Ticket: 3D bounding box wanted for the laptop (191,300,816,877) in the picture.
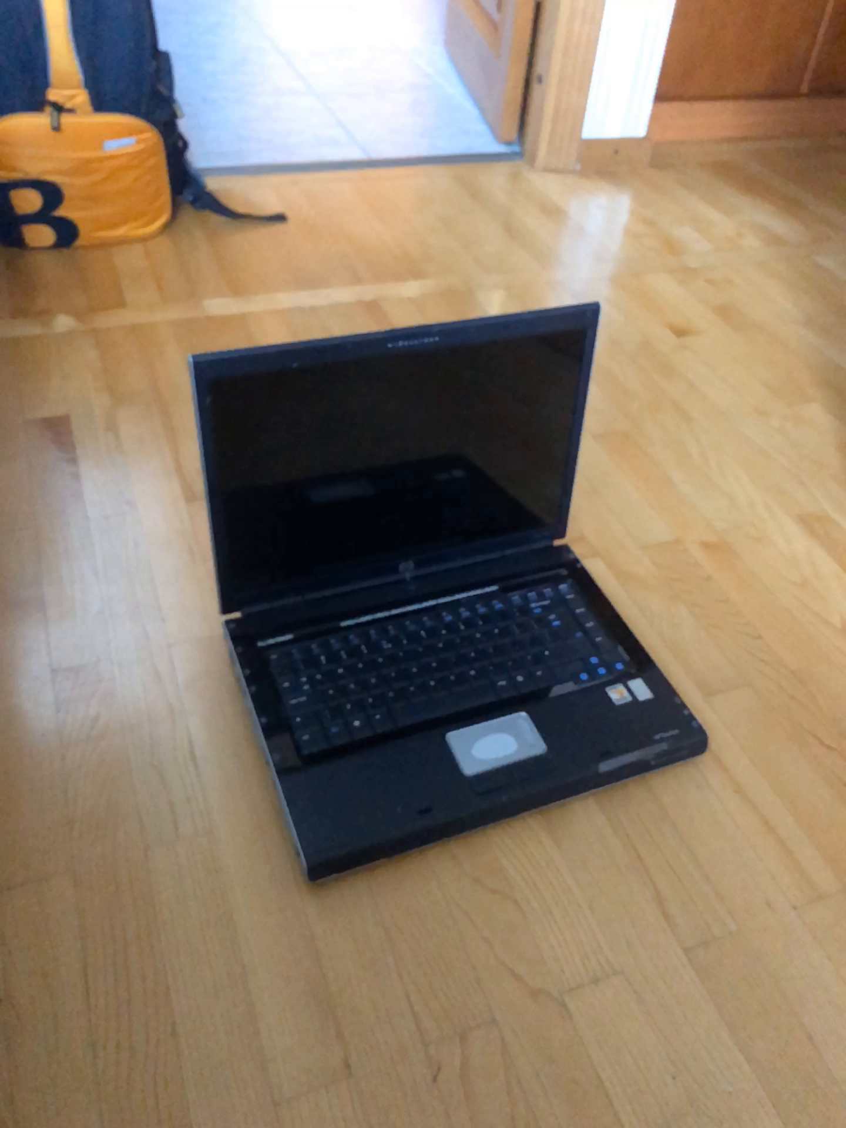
[{"bbox_3d":[0.036,-0.003,0.772,0.364,0.254,0.307,-13,46,-20],"label":"laptop"}]
